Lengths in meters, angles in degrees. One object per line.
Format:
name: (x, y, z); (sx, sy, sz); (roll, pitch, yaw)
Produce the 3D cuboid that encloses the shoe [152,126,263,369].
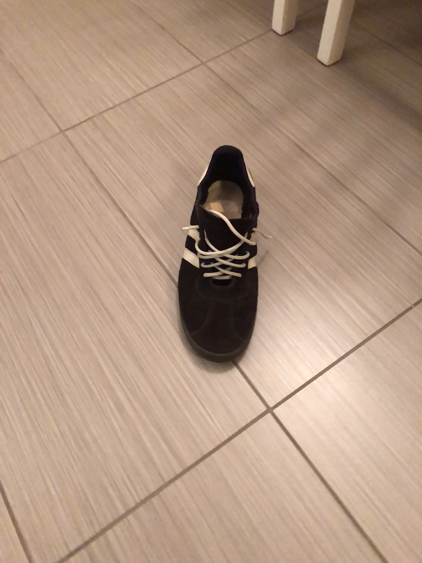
shoe: (0.010, -0.055, 0.622); (0.110, 0.120, 0.311); (2, 59, 7)
